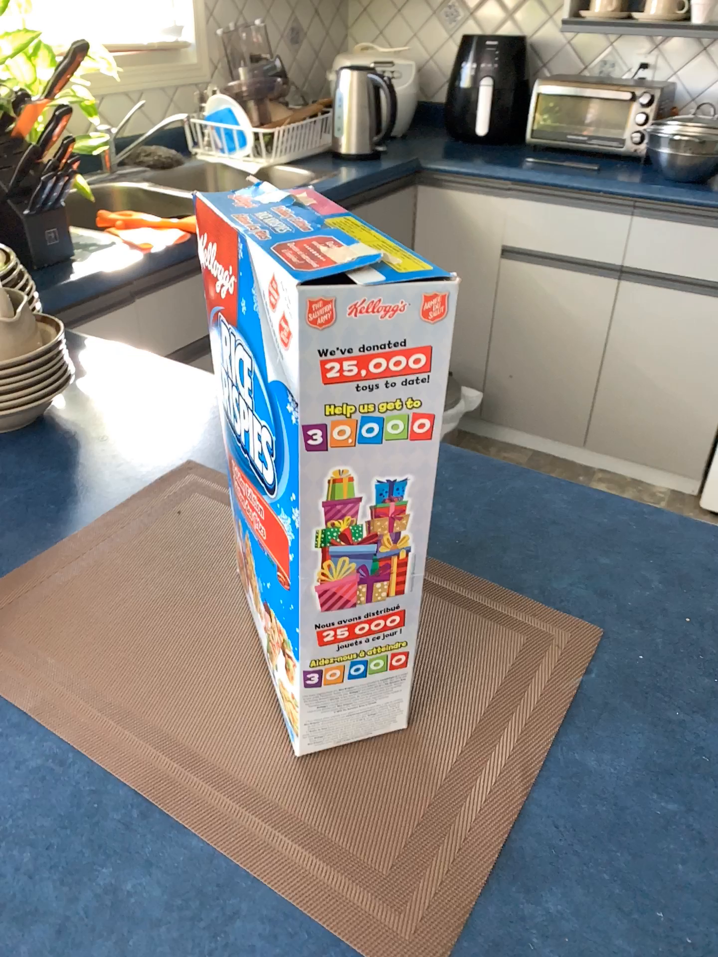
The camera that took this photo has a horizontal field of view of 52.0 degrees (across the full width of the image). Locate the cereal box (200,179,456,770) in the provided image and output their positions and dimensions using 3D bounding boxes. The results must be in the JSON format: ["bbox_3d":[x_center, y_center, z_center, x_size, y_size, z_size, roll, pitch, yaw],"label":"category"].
[{"bbox_3d":[-0.038,-0.009,0.503,0.080,0.327,0.222,-9,34,-18],"label":"cereal box"}]
